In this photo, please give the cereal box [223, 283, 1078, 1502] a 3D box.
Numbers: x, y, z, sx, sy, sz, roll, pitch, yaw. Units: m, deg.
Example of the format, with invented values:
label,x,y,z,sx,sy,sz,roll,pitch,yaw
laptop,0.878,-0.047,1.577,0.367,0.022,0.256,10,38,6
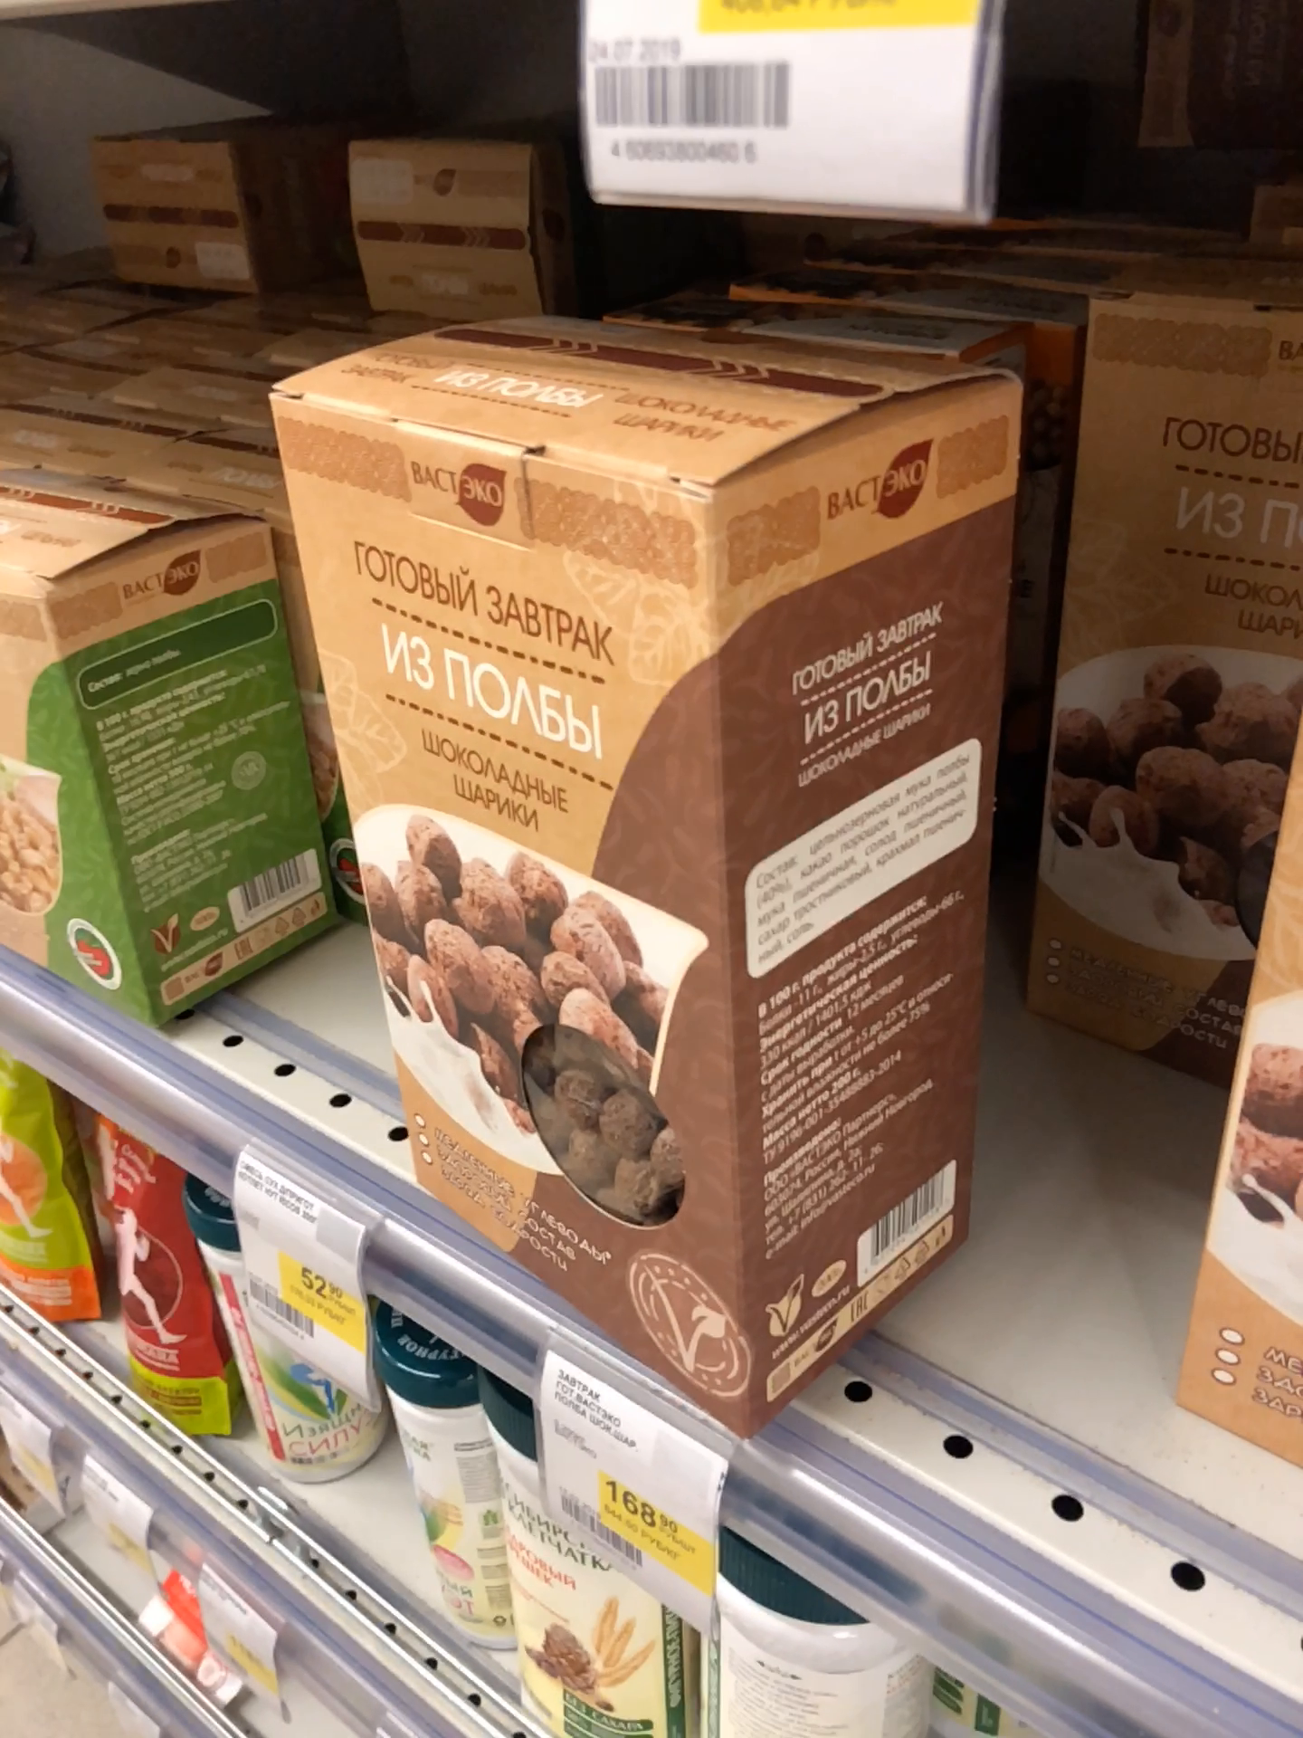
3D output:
label,x,y,z,sx,sy,sz,roll,pitch,yaw
cereal box,-0.001,0.000,0.302,0.080,0.209,0.130,-28,39,-36
